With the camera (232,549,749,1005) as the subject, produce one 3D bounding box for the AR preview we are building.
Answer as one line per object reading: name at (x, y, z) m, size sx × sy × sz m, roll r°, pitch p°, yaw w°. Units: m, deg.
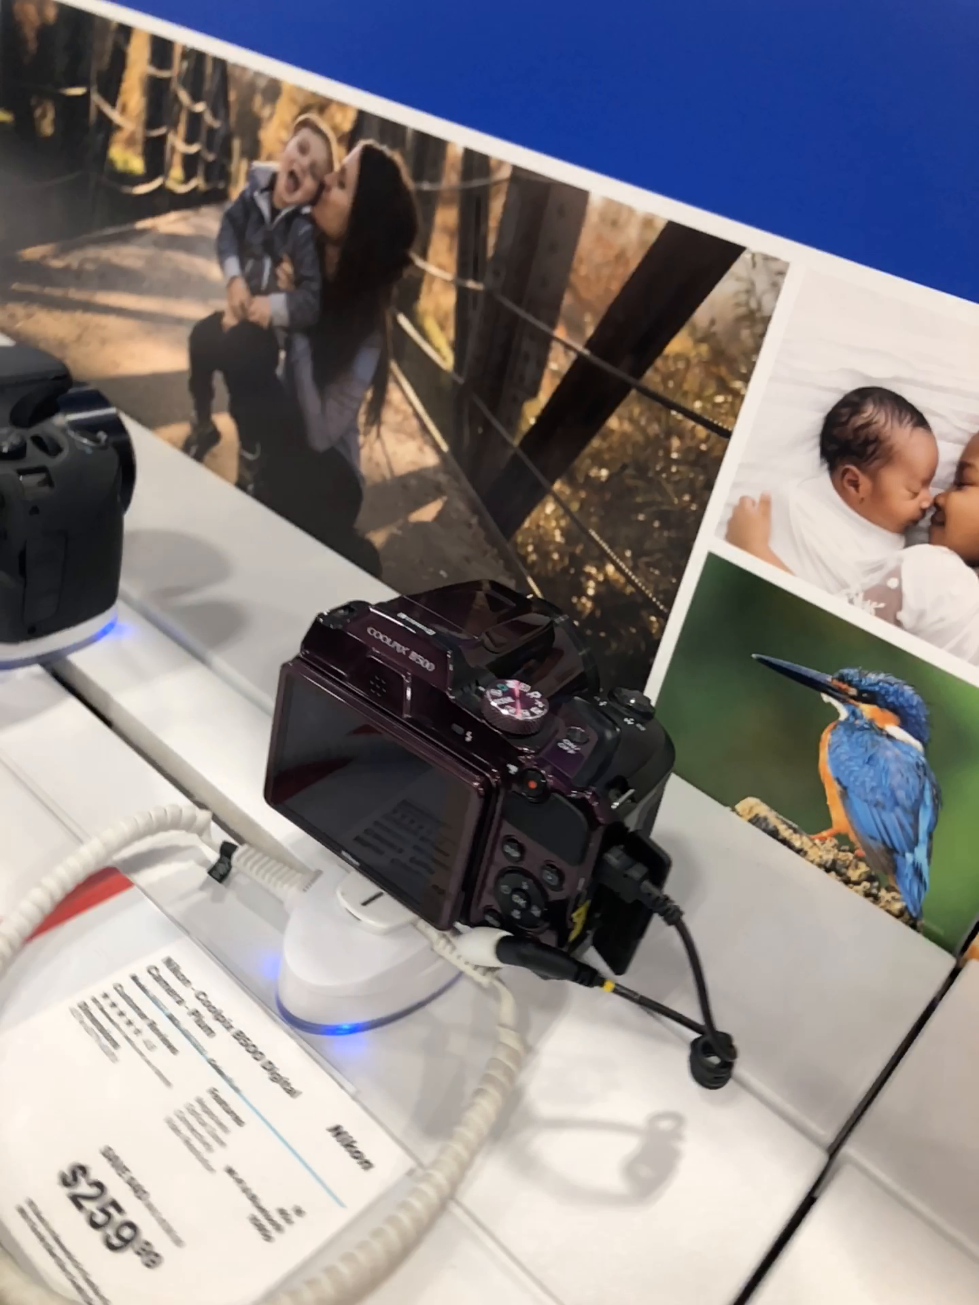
camera at (0.000, 0.029, 0.348) m, size 0.120 × 0.060 × 0.100 m, roll 30°, pitch 33°, yaw 25°
